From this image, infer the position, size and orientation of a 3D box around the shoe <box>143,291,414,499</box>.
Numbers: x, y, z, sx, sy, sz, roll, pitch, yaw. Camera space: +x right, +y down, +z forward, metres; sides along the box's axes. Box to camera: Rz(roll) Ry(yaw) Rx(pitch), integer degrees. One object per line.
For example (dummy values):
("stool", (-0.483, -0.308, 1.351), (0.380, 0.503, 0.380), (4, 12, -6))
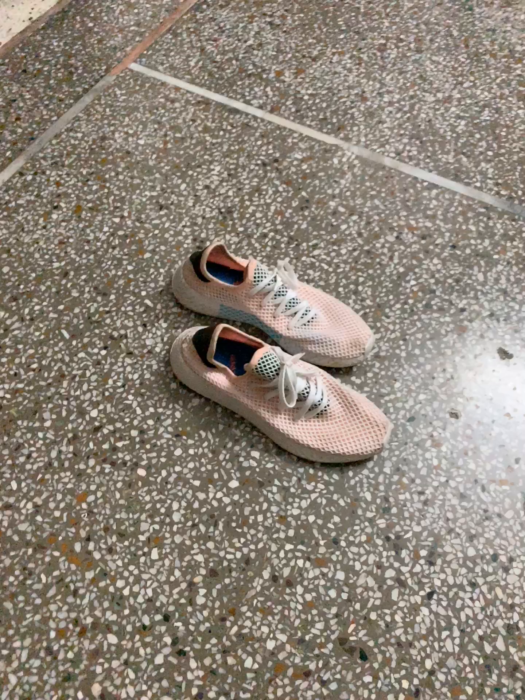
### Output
("shoe", (0.017, 0.056, 0.702), (0.310, 0.100, 0.122), (25, 65, 11))

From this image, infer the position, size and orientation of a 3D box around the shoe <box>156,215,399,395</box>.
("shoe", (0.019, -0.066, 0.778), (0.310, 0.100, 0.122), (23, 64, 10))
